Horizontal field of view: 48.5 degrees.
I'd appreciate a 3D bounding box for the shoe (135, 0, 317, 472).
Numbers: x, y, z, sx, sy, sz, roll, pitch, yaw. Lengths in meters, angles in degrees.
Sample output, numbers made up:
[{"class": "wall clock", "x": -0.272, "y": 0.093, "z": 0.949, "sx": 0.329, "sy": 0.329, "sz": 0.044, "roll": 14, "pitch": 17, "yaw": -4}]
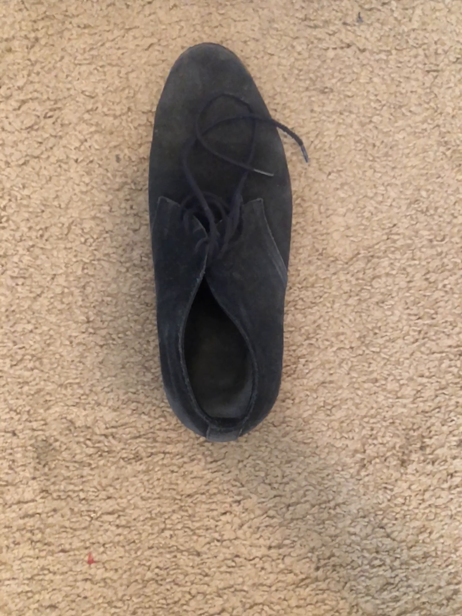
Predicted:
[{"class": "shoe", "x": -0.005, "y": -0.045, "z": 0.343, "sx": 0.102, "sy": 0.095, "sz": 0.279, "roll": 0, "pitch": 87, "yaw": -3}]
